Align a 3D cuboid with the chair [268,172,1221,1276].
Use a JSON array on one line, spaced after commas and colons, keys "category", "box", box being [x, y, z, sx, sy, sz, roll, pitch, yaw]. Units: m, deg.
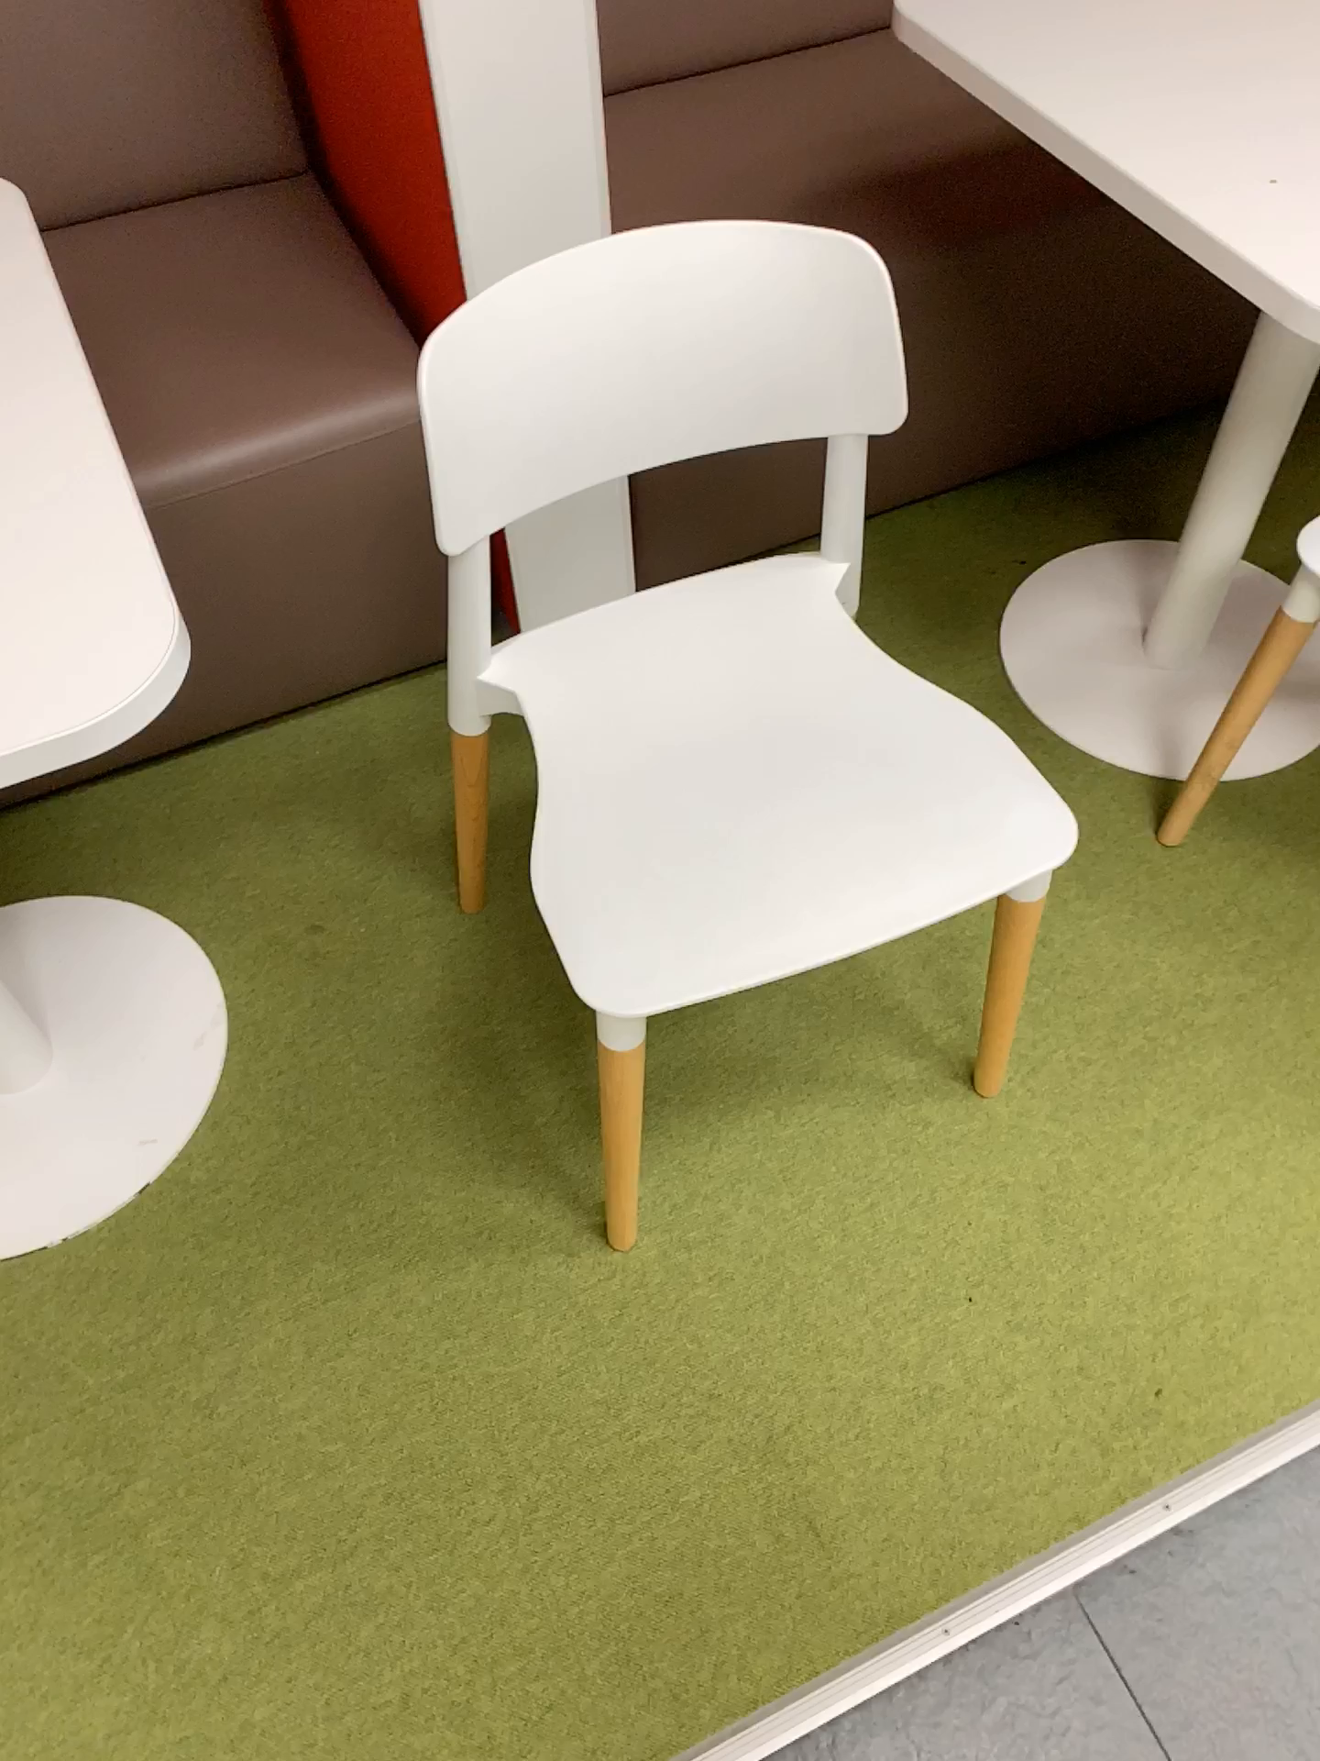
[{"category": "chair", "box": [0.037, -0.094, 1.253, 0.500, 0.787, 0.502, -19, 55, -12]}]
